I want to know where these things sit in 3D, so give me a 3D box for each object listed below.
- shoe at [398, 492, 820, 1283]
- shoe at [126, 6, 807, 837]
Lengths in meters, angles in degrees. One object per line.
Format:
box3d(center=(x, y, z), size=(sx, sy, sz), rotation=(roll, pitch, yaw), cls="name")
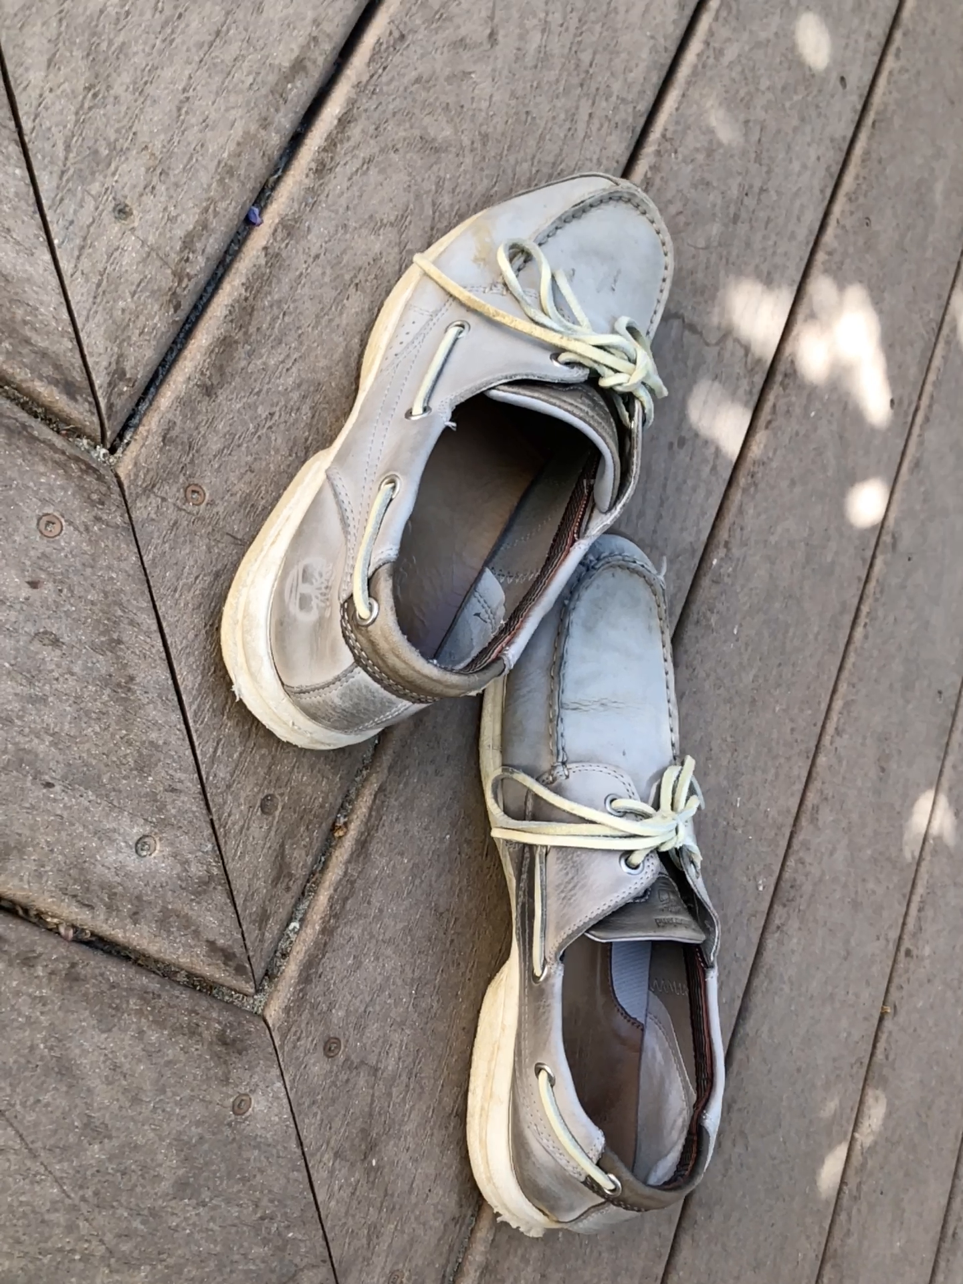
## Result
box3d(center=(0.059, 0.107, 0.466), size=(0.121, 0.109, 0.310), rotation=(11, 81, -39), cls="shoe")
box3d(center=(0.012, -0.093, 0.431), size=(0.117, 0.099, 0.314), rotation=(43, 62, -30), cls="shoe")
